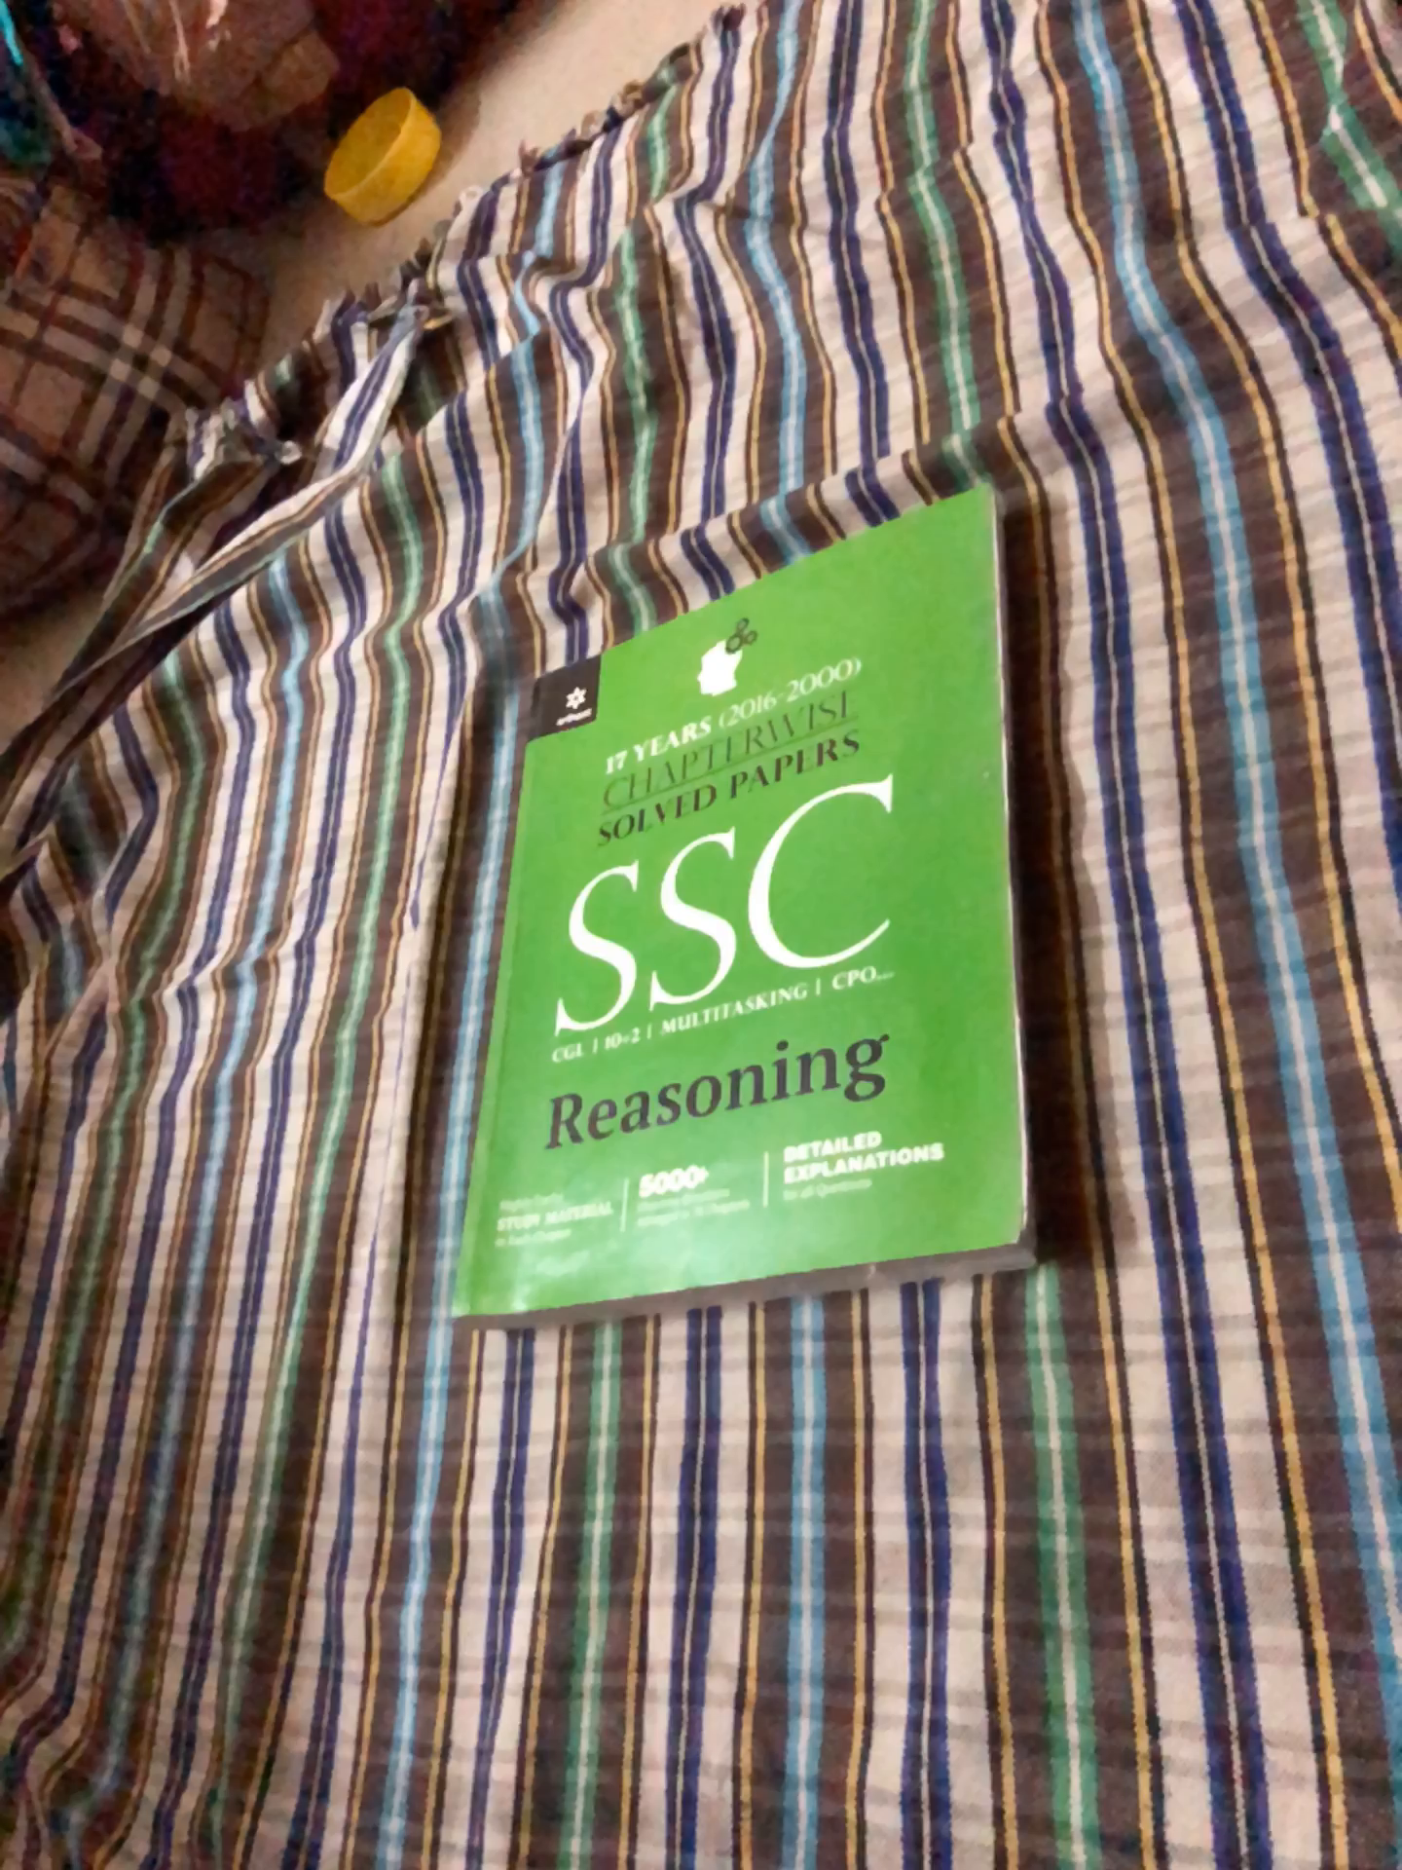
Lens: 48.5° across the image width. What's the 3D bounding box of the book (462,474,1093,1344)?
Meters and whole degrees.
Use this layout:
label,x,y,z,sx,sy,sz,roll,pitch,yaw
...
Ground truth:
label,x,y,z,sx,sy,sz,roll,pitch,yaw
book,0.023,-0.006,0.544,0.210,0.040,0.270,-16,57,34
